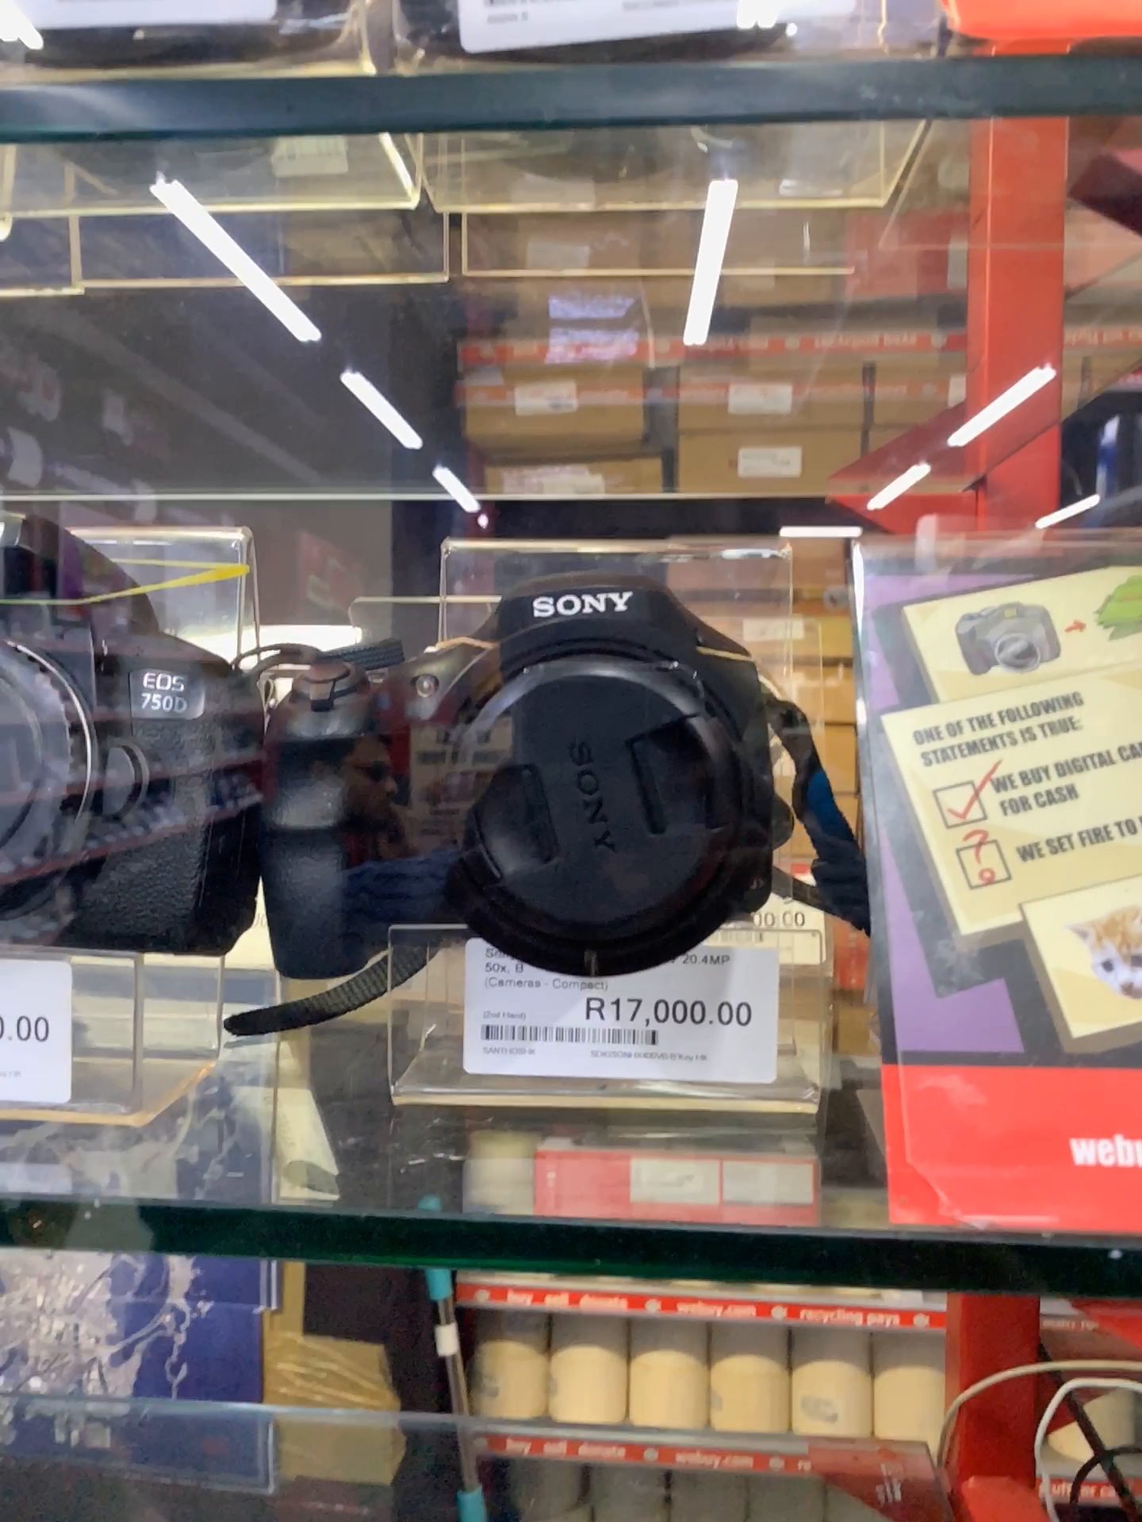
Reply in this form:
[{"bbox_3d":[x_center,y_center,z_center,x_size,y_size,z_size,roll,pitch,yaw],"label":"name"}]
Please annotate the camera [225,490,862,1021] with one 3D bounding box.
[{"bbox_3d":[-0.006,-0.003,0.268,0.120,0.100,0.090,0,2,0],"label":"camera"}]
